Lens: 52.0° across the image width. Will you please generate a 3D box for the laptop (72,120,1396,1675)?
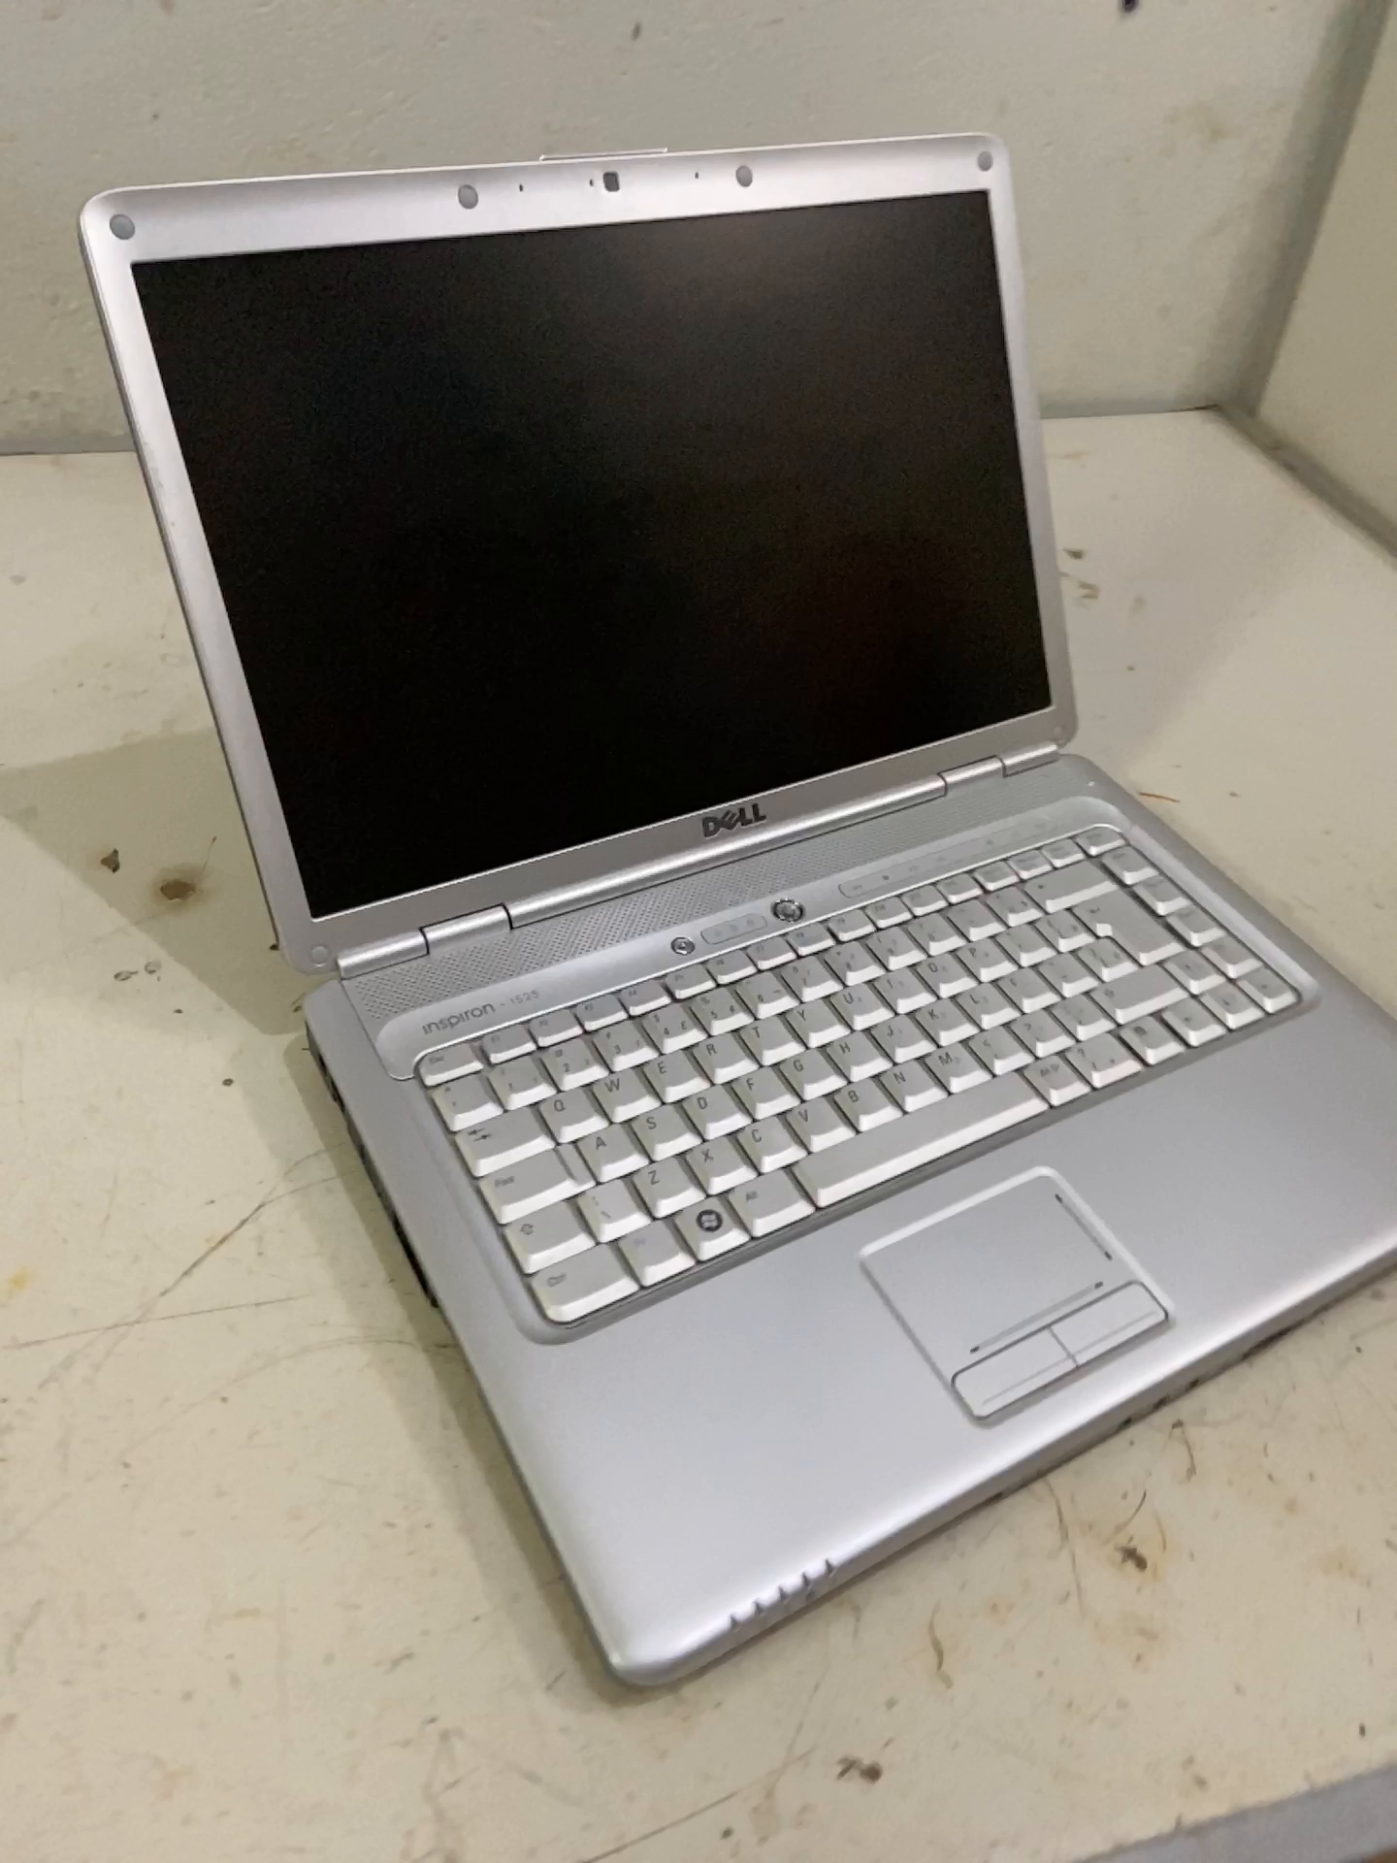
[{"bbox_3d":[0.050,-0.075,0.454,0.350,0.208,0.378,-18,49,-25],"label":"laptop"}]
